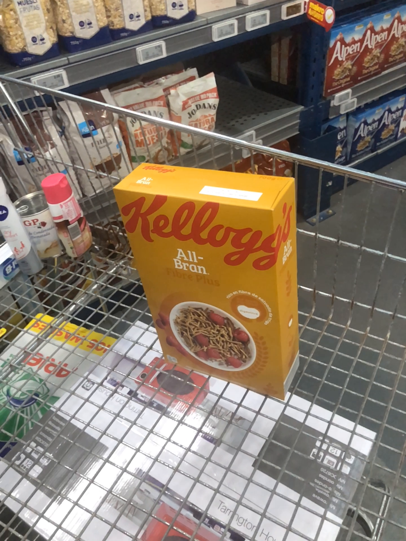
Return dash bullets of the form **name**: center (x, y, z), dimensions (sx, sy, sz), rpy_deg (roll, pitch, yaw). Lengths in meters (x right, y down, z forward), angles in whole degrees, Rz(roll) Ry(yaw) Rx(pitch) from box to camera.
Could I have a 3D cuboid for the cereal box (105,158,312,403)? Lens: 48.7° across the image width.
- **cereal box**: center (0.022, 0.018, 0.551), dimensions (0.200, 0.289, 0.070), rpy_deg (12, 44, 27)
